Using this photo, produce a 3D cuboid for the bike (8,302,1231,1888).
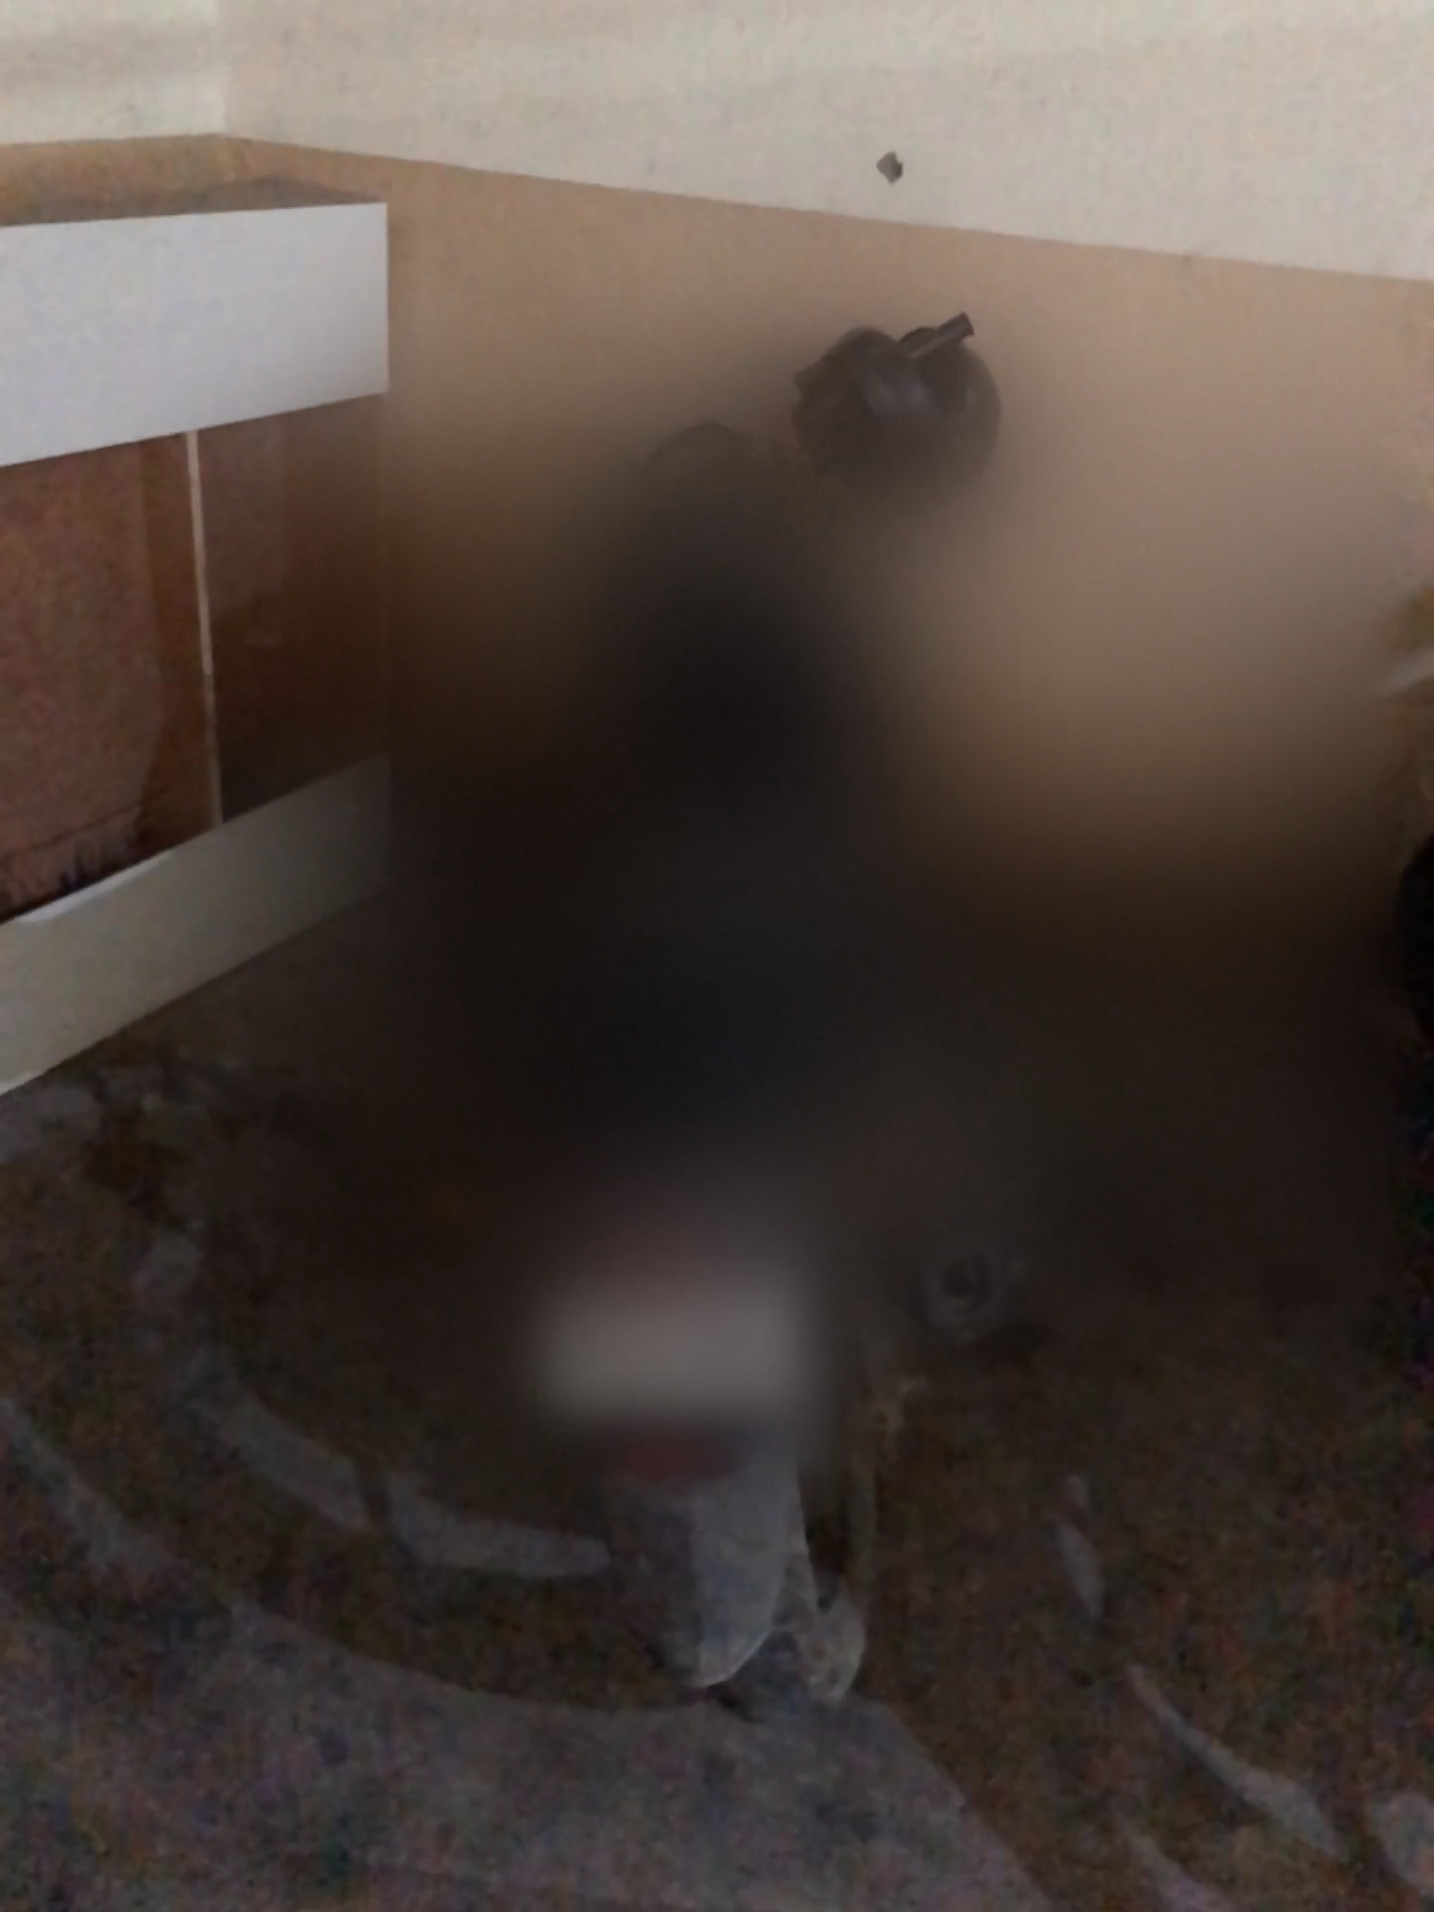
[{"bbox_3d":[-0.068,-0.058,1.966,0.717,1.180,1.711,6,29,0],"label":"bike"}]
